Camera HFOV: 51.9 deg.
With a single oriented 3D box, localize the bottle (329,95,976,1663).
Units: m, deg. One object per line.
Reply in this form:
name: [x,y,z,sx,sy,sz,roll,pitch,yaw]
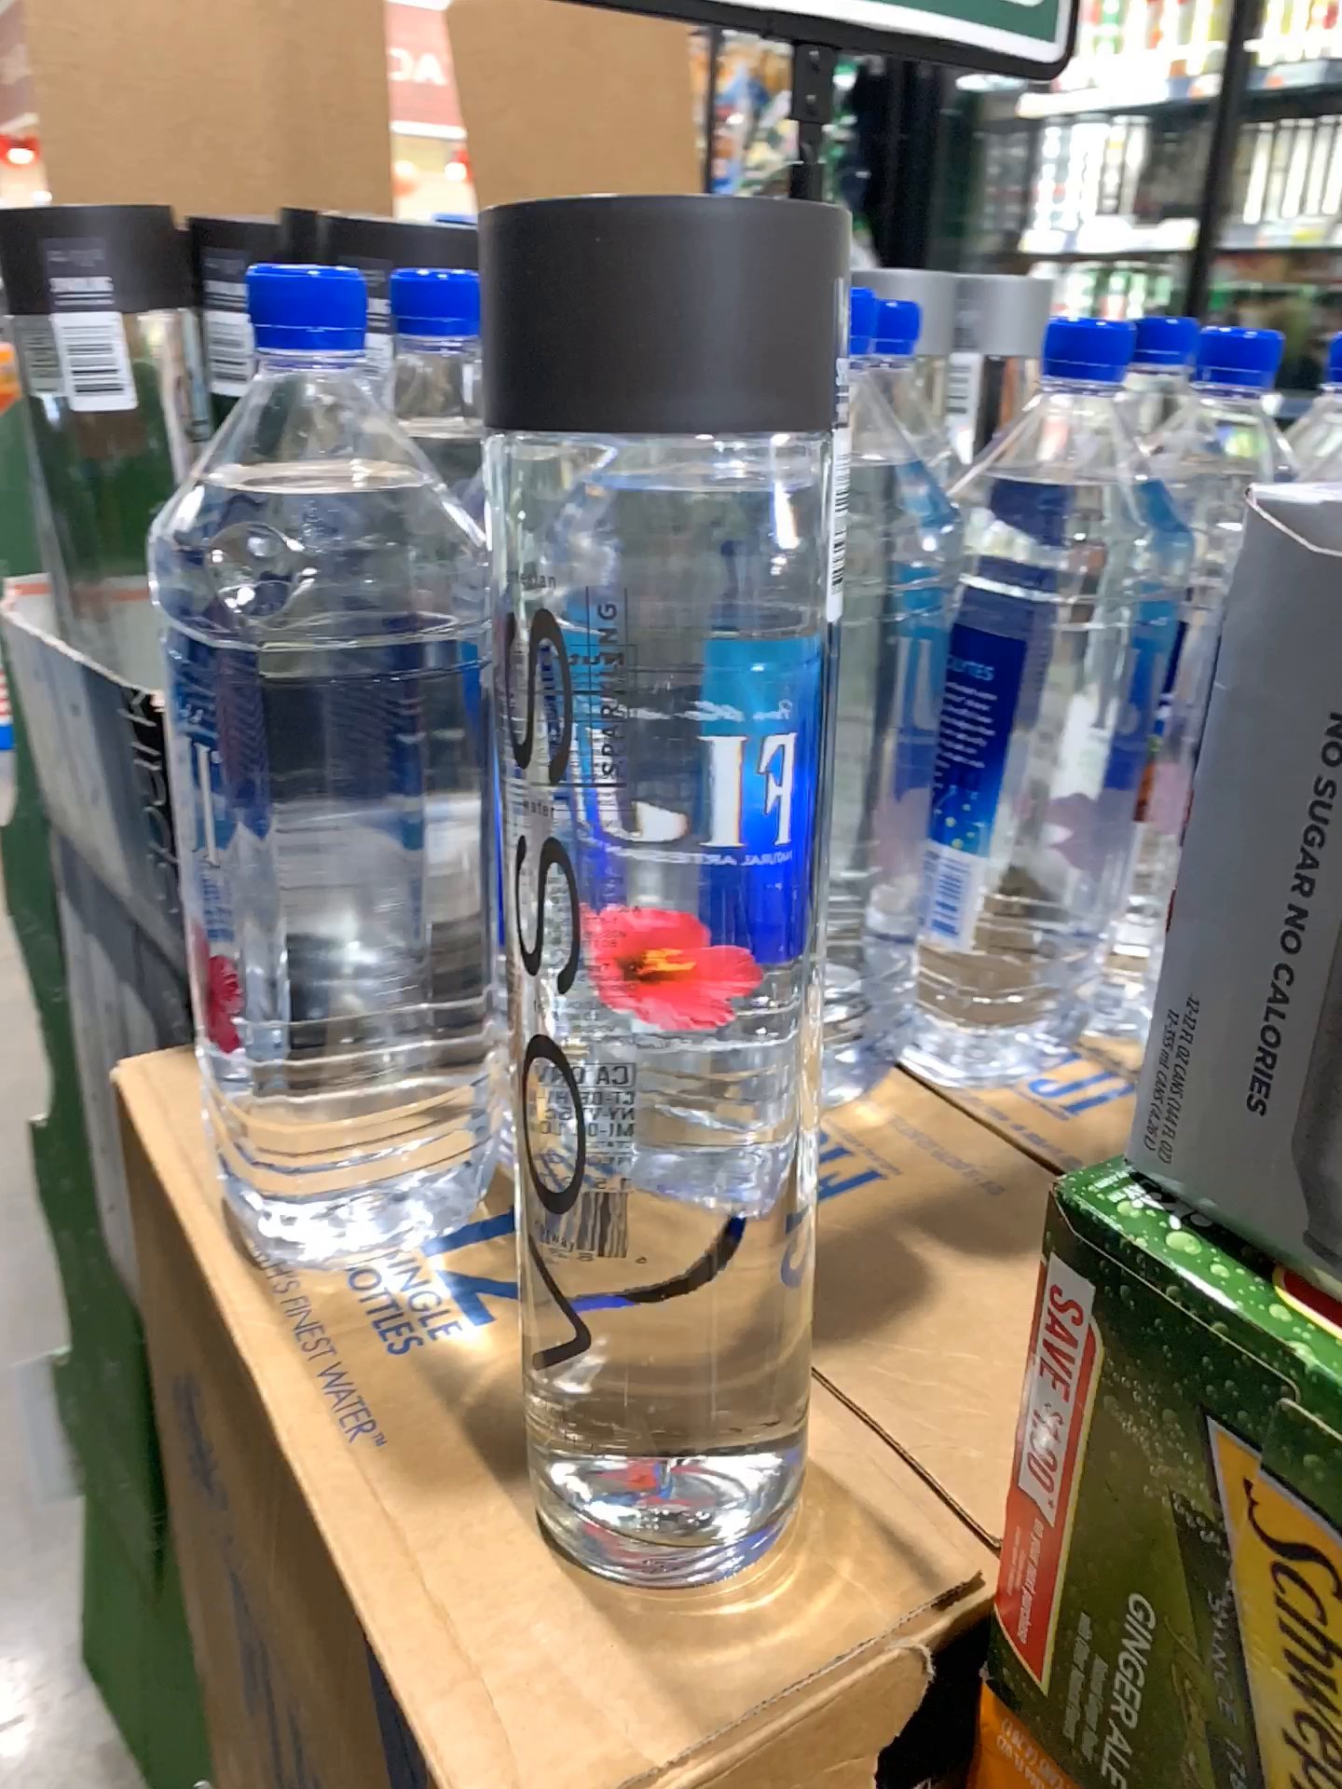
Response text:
bottle: [-0.008,0.006,0.290,0.080,0.289,0.080,1,21,0]
